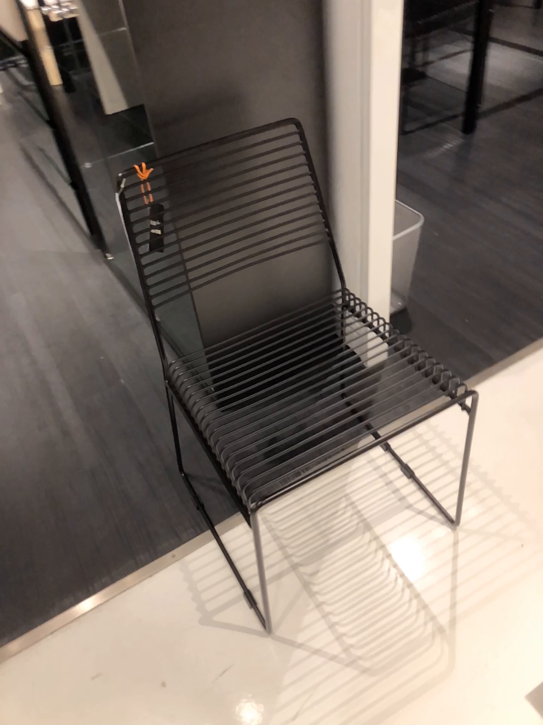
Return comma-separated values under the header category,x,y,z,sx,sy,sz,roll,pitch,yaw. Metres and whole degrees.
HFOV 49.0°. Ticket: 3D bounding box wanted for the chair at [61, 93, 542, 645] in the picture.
category,x,y,z,sx,sy,sz,roll,pitch,yaw
chair,0.045,0.022,1.129,0.521,0.764,0.503,-24,46,-16
